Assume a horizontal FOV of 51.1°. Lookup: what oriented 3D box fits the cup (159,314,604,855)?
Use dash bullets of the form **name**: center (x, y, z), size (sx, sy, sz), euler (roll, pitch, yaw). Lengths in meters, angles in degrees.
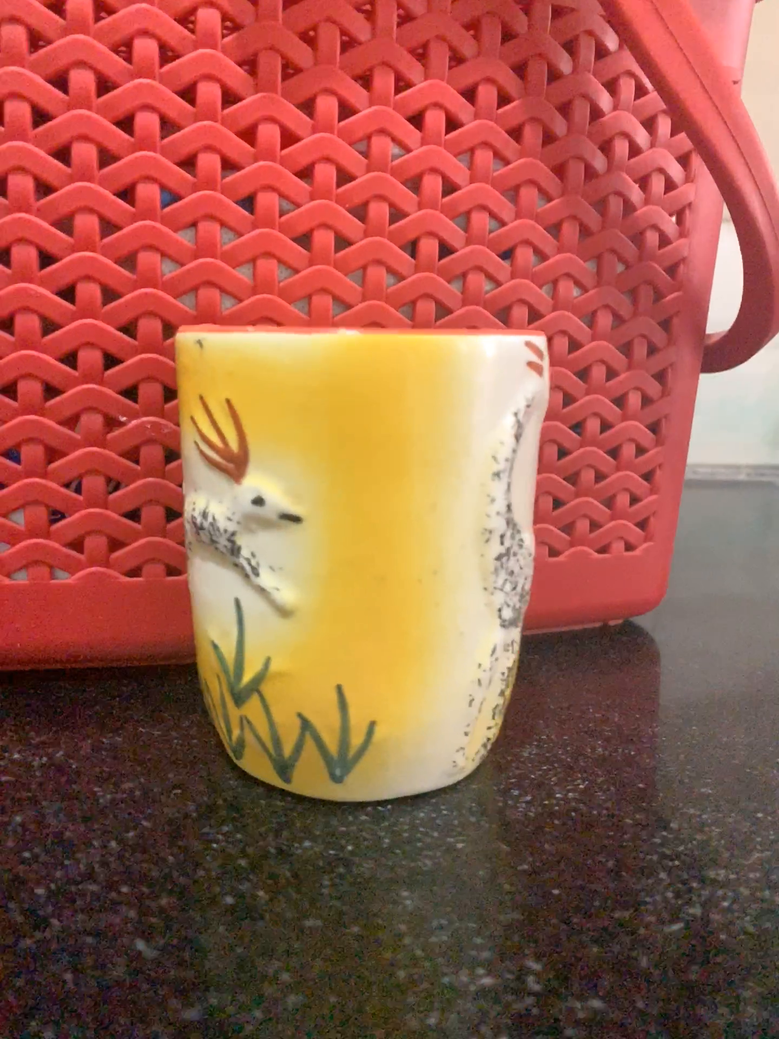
- **cup**: center (-0.010, 0.005, 0.197), size (0.080, 0.100, 0.080), euler (2, 10, 0)
